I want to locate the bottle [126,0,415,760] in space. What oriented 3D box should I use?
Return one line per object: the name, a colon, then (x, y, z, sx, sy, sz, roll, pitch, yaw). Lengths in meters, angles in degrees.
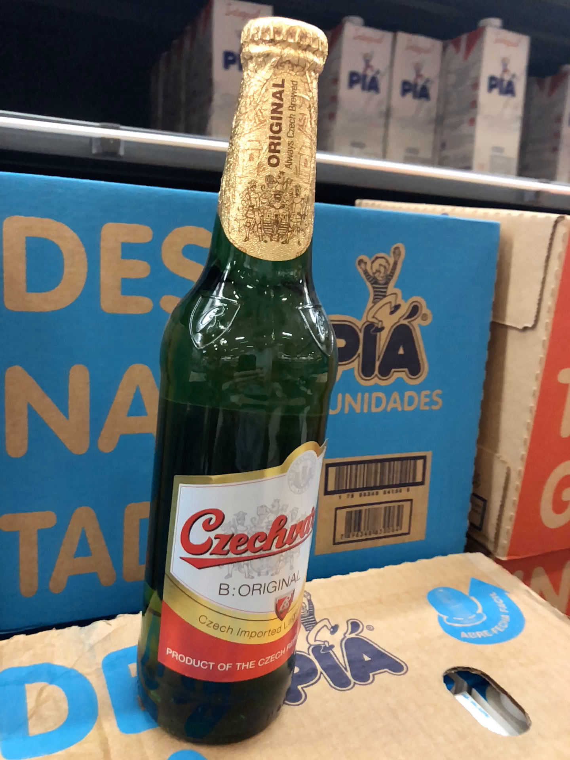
bottle: (-0.014, -0.001, 0.245, 0.070, 0.269, 0.070, 4, 11, -1)
